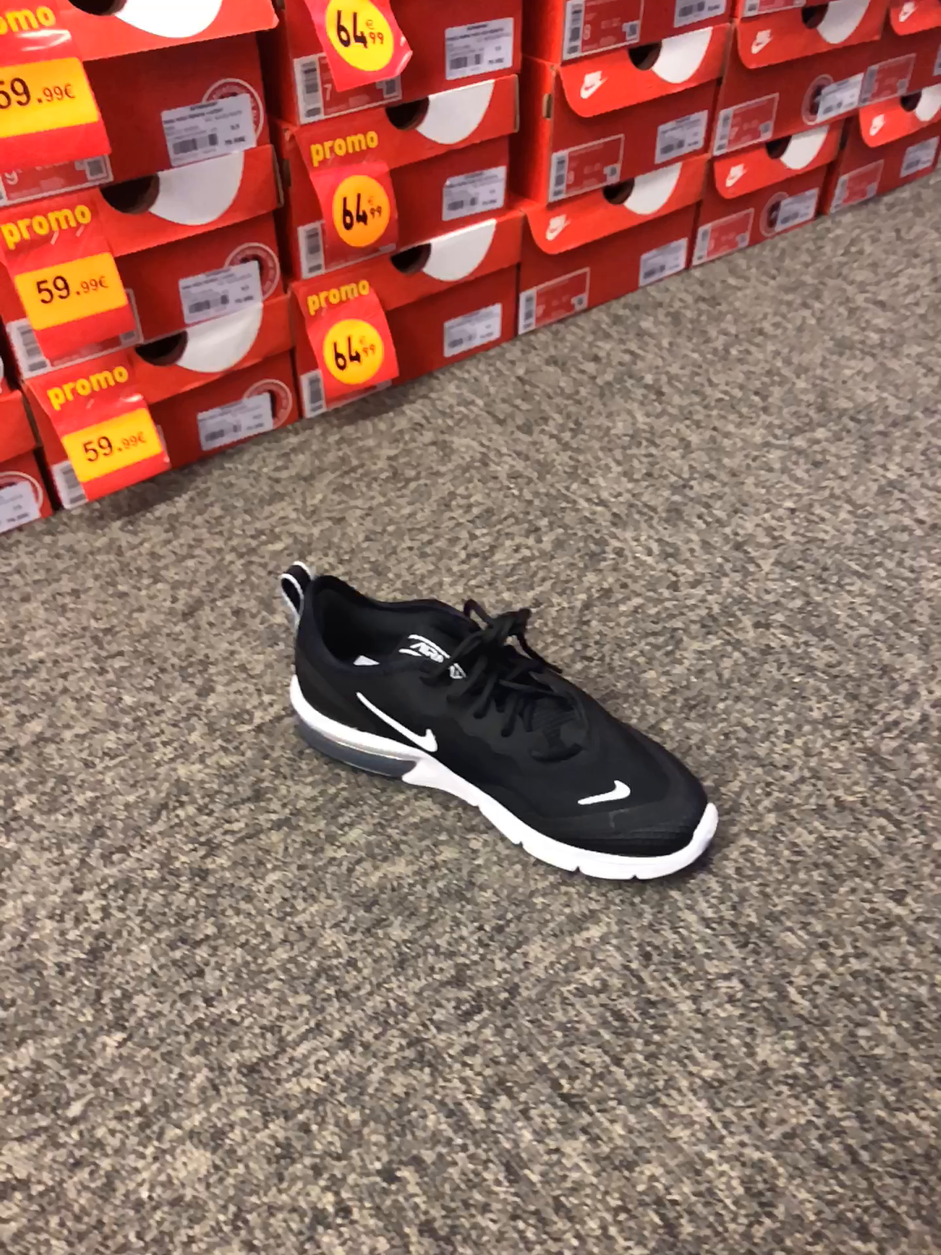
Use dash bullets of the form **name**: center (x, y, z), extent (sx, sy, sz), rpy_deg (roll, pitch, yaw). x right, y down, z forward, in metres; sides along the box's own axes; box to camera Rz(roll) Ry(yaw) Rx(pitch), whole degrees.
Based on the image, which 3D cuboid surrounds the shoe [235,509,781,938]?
- **shoe**: center (0.016, 0.045, 0.557), extent (0.256, 0.109, 0.101), rpy_deg (20, 47, 16)
